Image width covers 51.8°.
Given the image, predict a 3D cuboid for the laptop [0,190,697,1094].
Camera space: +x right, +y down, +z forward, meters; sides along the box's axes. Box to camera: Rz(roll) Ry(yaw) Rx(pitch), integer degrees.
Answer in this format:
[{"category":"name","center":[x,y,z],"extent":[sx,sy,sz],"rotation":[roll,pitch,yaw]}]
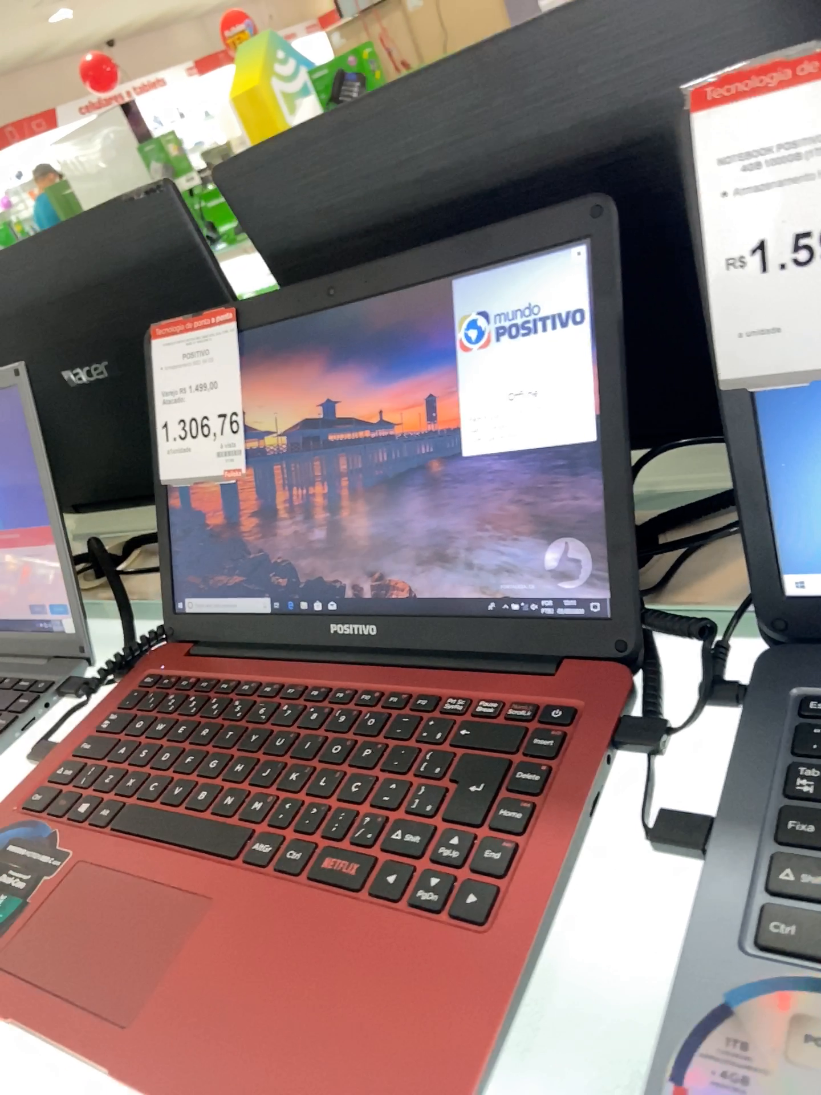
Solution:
[{"category":"laptop","center":[-0.088,0.018,0.386],"extent":[0.321,0.167,0.334],"rotation":[-3,34,36]}]
